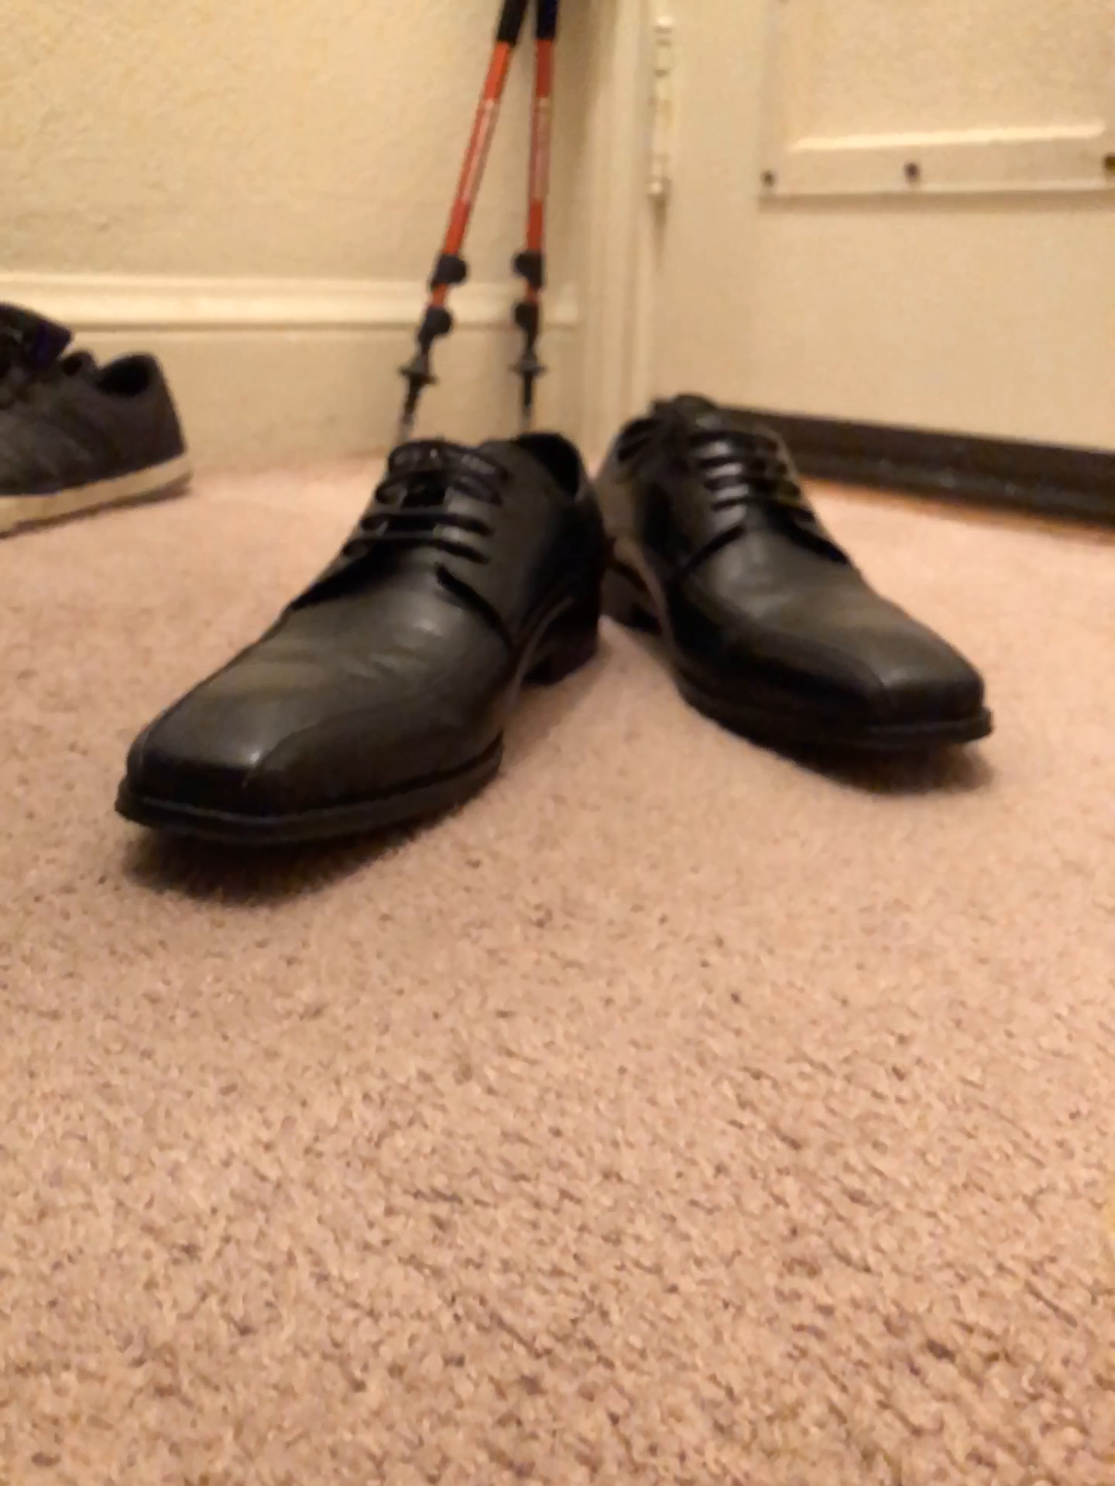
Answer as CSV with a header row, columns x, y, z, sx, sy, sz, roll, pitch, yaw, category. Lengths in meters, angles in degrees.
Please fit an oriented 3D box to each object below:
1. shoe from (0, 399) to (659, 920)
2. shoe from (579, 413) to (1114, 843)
x,y,z,sx,sy,sz,roll,pitch,yaw,category
-0.055,-0.057,0.463,0.110,0.107,0.284,9,22,17,shoe
0.109,-0.074,0.558,0.115,0.110,0.298,-4,22,-15,shoe
